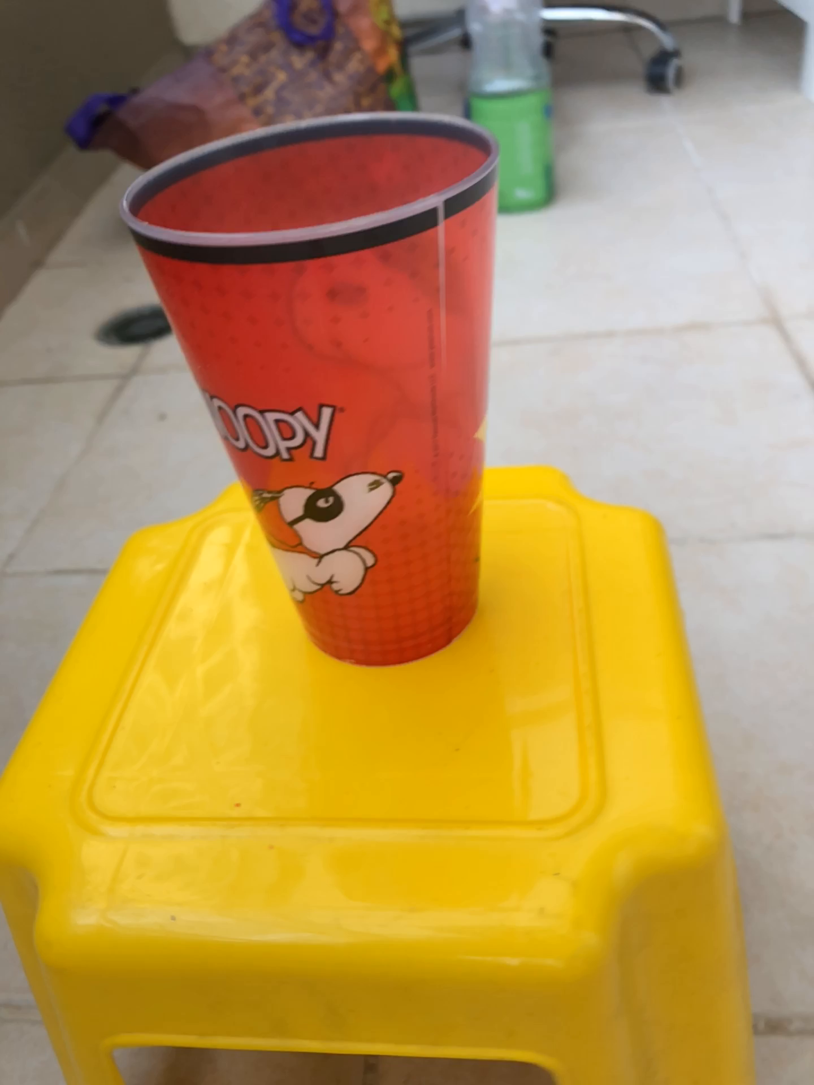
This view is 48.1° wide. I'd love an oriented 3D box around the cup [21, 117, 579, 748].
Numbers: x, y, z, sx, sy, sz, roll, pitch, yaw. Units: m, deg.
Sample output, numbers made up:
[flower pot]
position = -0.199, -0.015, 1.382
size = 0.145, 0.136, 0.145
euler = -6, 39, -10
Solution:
[cup]
position = -0.019, -0.040, 0.283
size = 0.100, 0.139, 0.111
euler = 21, 47, 33
